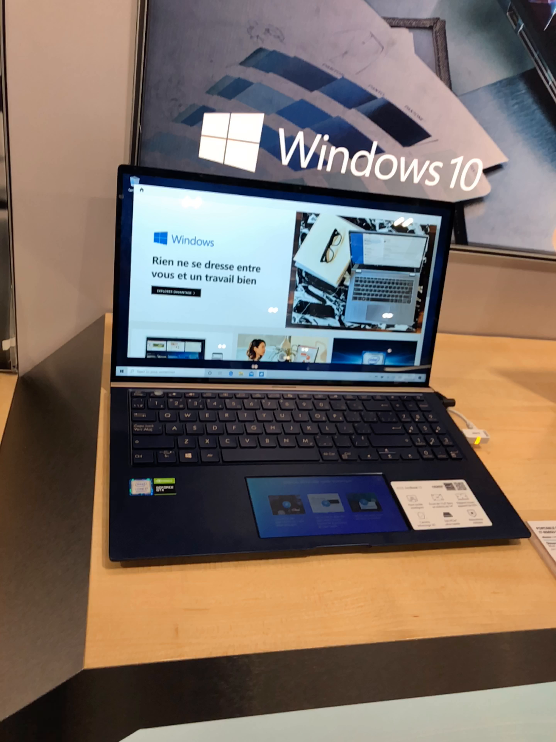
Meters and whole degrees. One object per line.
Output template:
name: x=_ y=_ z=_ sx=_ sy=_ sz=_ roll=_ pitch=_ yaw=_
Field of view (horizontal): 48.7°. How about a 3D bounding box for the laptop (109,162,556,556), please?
laptop: x=0.034 y=-0.023 z=0.528 sx=0.338 sy=0.183 sz=0.274 roll=2 pitch=34 yaw=-17
